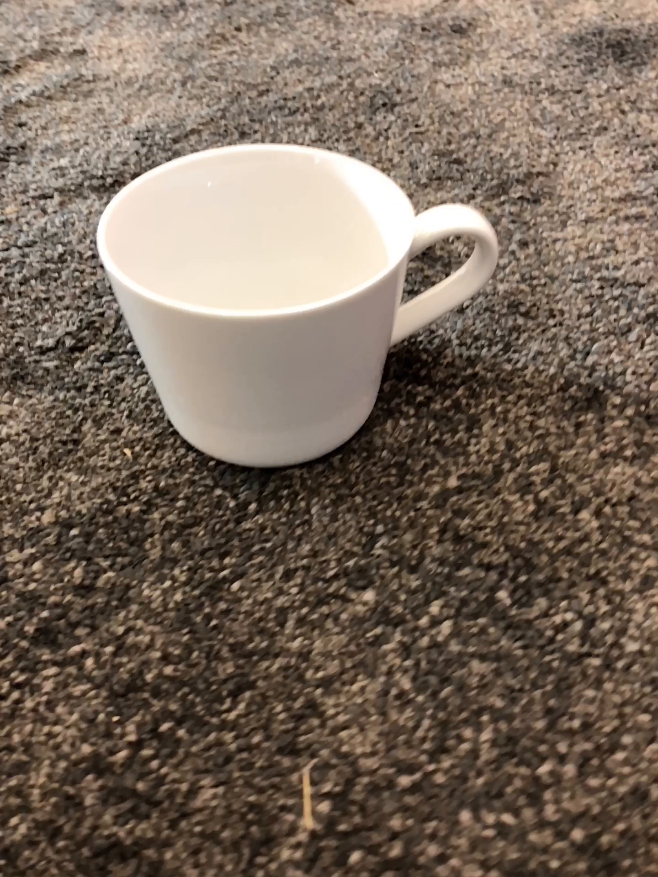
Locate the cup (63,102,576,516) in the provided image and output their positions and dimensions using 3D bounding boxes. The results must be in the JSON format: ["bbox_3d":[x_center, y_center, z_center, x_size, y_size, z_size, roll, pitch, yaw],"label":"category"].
[{"bbox_3d":[-0.009,-0.049,0.258,0.140,0.080,0.100,-10,48,-7],"label":"cup"}]
